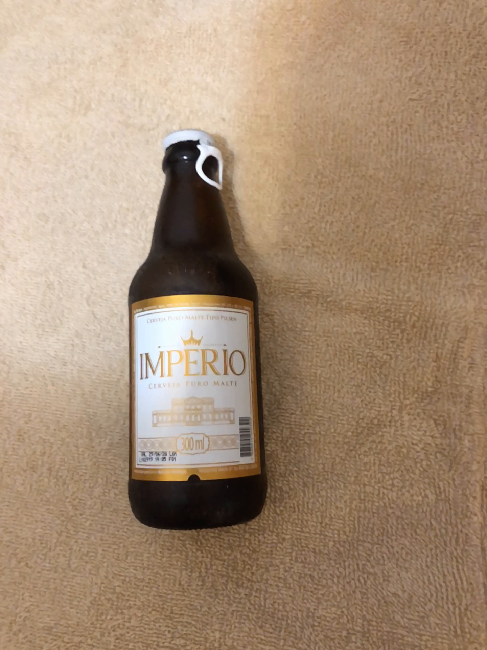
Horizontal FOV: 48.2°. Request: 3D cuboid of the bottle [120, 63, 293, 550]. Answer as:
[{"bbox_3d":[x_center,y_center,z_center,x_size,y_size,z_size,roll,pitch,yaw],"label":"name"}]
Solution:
[{"bbox_3d":[-0.015,-0.008,0.241,0.060,0.060,0.190,-4,79,7],"label":"bottle"}]
